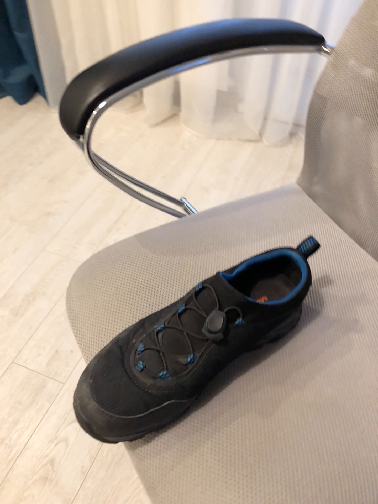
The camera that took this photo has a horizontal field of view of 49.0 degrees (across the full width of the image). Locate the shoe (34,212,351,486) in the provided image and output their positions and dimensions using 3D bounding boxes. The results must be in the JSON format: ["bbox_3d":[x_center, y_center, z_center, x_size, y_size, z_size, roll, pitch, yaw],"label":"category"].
[{"bbox_3d":[0.011,0.090,0.459,0.301,0.109,0.128,-27,53,-22],"label":"shoe"}]
